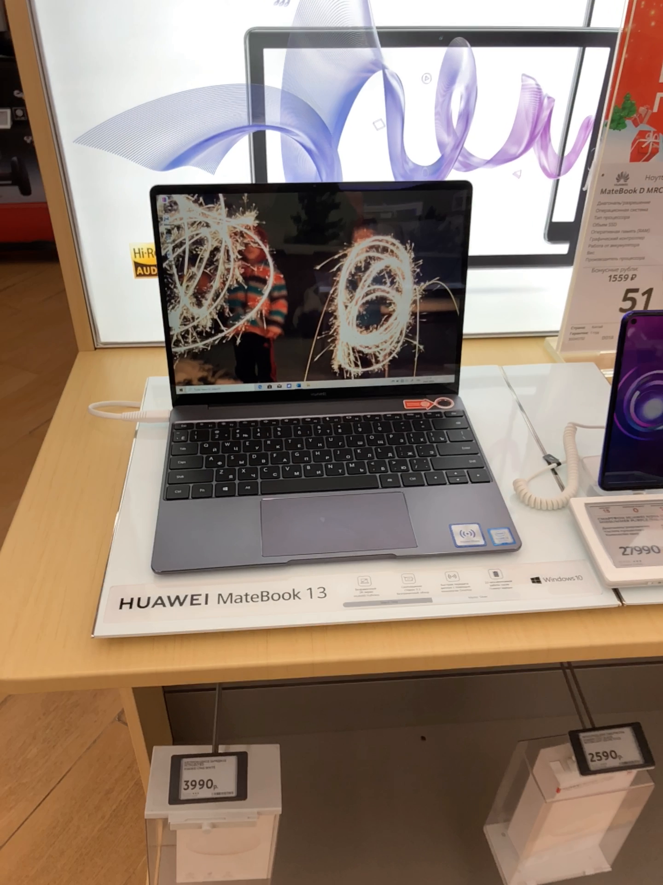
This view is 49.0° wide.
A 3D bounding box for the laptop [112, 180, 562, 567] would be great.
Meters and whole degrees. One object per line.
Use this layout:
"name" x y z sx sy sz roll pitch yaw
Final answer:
"laptop" -0.003 -0.070 0.591 0.274 0.192 0.245 -3 38 -5
